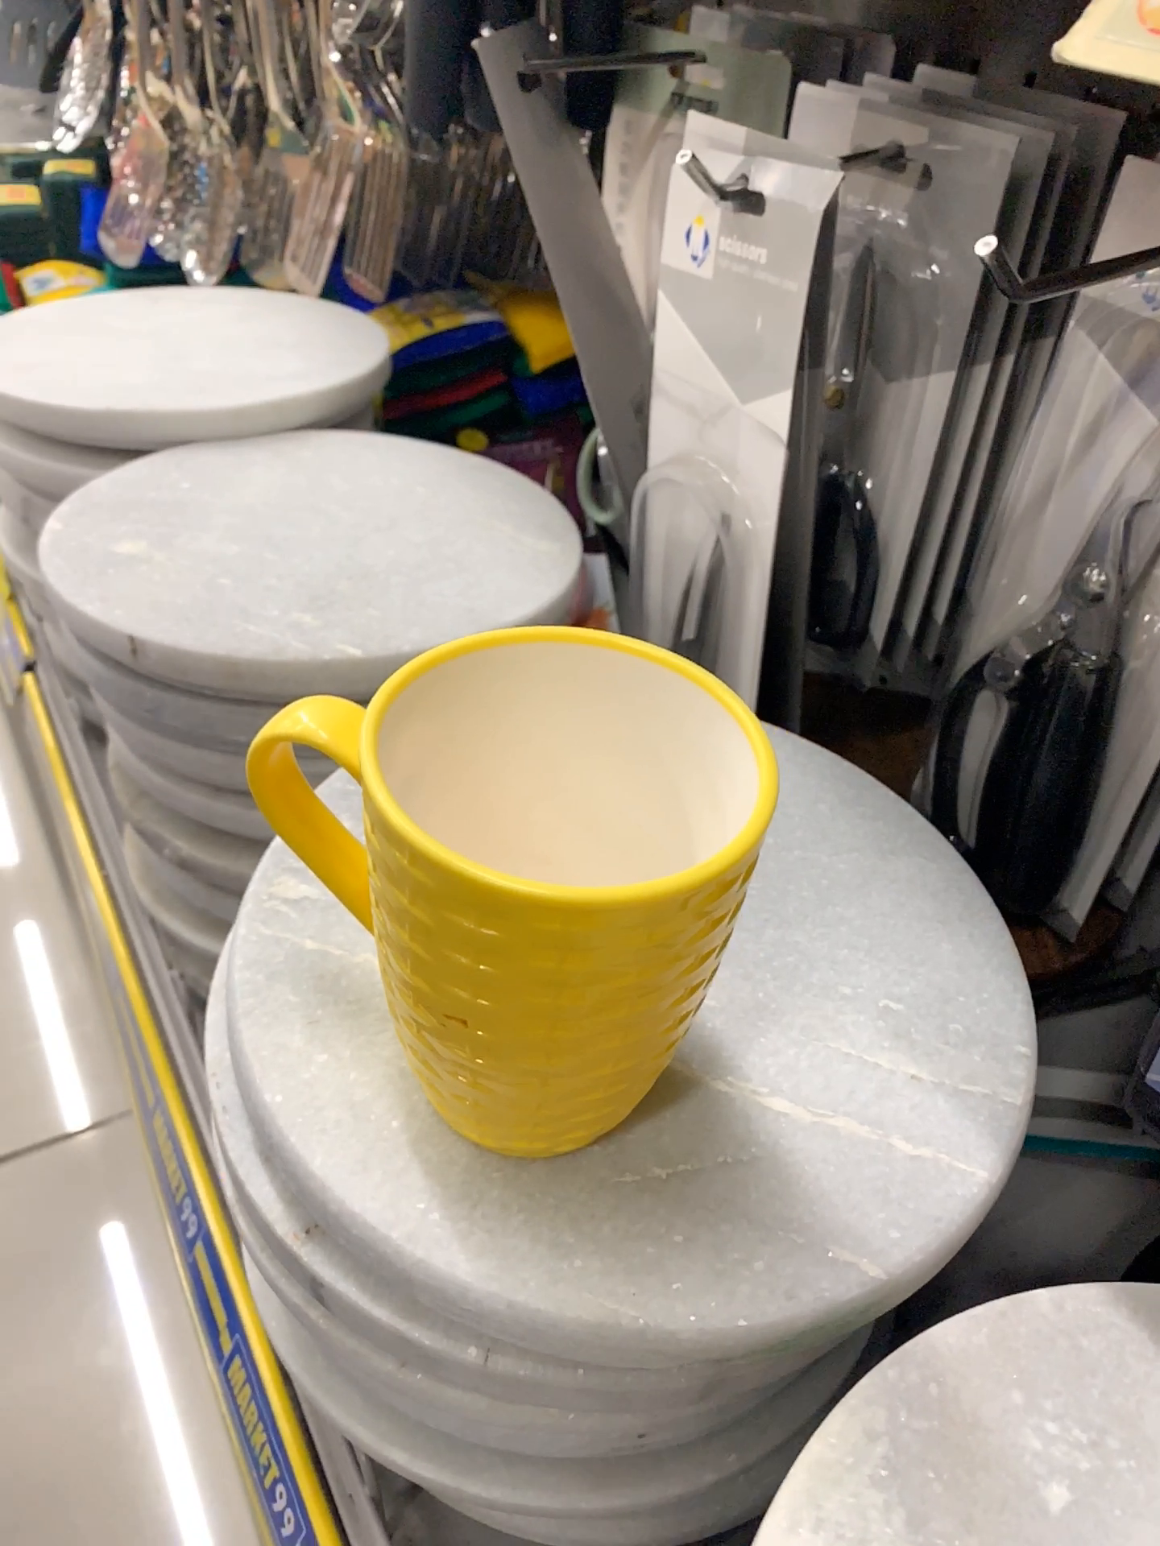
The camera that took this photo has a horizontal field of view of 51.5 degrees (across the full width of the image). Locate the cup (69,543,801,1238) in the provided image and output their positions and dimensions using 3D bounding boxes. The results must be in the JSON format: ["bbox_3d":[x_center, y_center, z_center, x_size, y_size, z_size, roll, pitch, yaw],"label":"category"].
[{"bbox_3d":[-0.025,0.021,0.267,0.120,0.090,0.090,14,38,10],"label":"cup"}]
